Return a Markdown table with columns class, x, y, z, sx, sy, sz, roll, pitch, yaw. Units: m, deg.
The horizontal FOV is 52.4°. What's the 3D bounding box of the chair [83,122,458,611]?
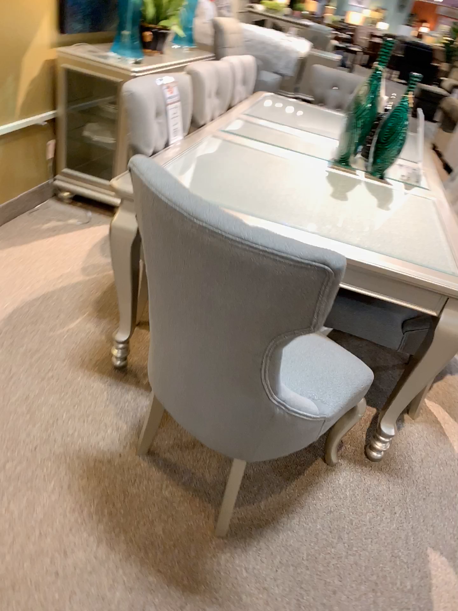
| class | x | y | z | sx | sy | sz | roll | pitch | yaw |
| --- | --- | --- | --- | --- | --- | --- | --- | --- | --- |
| chair | 0.102 | 0.099 | 1.211 | 0.581 | 0.915 | 0.683 | 34 | 38 | 27 |
